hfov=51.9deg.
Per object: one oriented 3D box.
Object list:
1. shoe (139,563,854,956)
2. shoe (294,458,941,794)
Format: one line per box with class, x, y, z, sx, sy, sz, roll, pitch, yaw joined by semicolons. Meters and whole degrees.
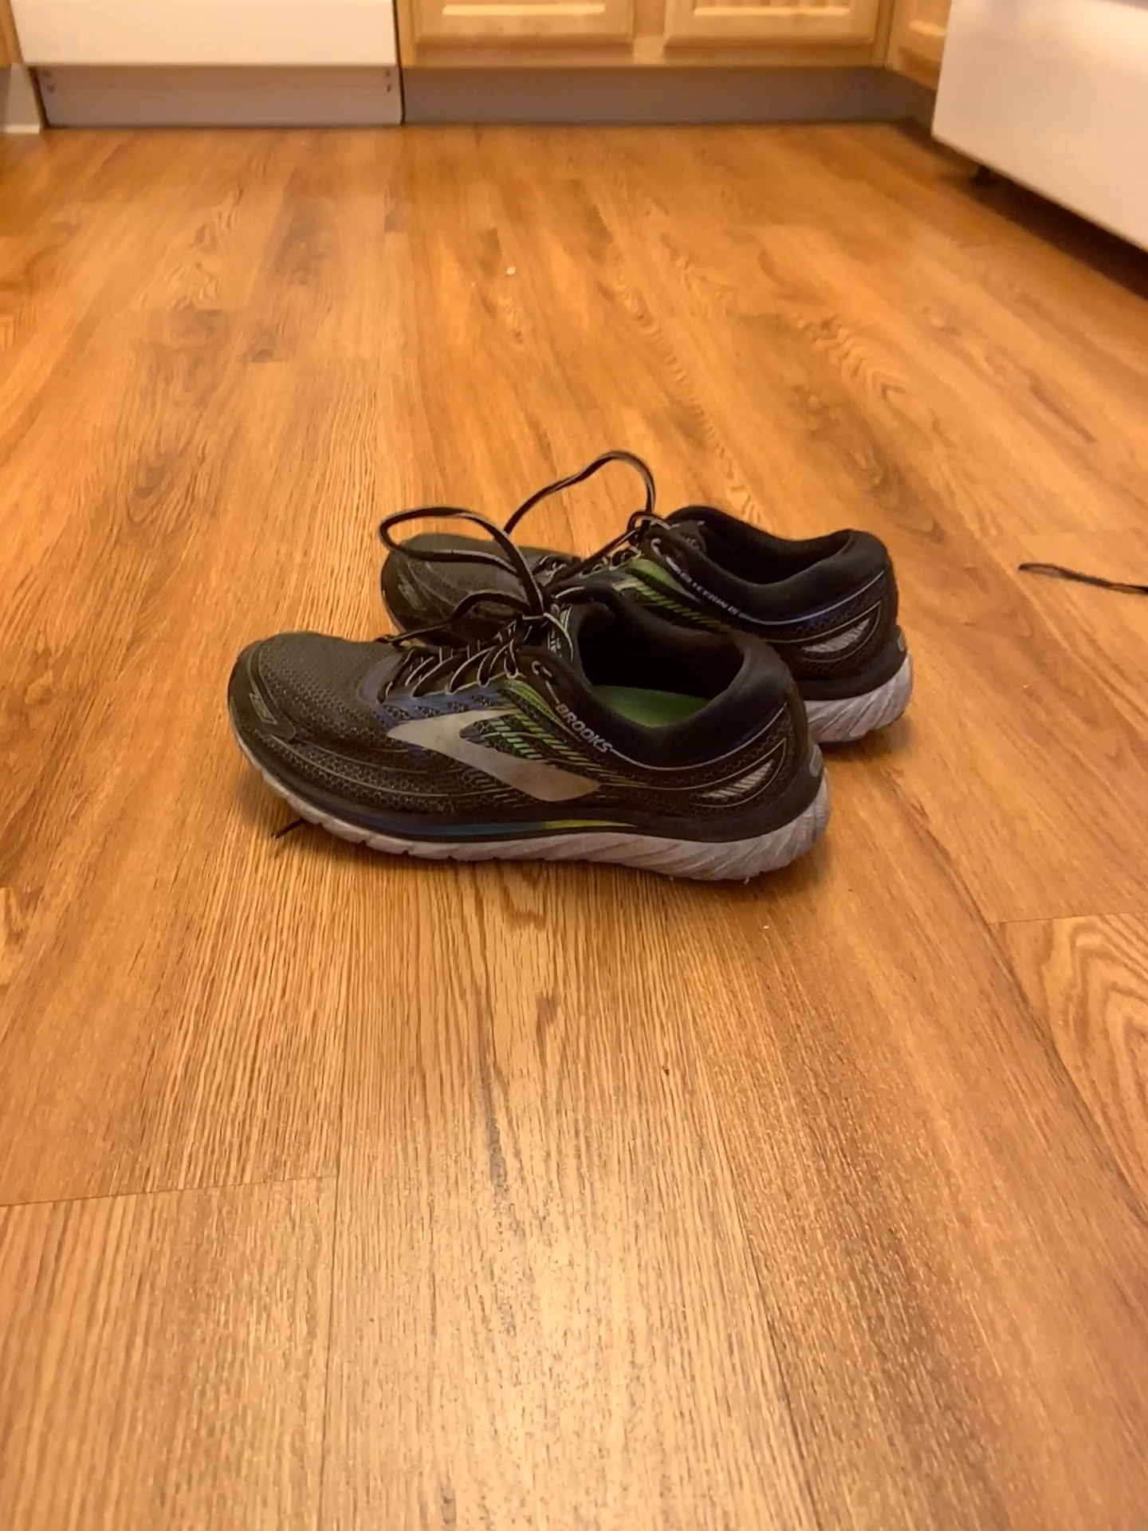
shoe;-0.032;-0.009;0.591;0.320;0.109;0.111;8;38;9
shoe;0.027;-0.087;0.689;0.340;0.109;0.121;8;38;9
